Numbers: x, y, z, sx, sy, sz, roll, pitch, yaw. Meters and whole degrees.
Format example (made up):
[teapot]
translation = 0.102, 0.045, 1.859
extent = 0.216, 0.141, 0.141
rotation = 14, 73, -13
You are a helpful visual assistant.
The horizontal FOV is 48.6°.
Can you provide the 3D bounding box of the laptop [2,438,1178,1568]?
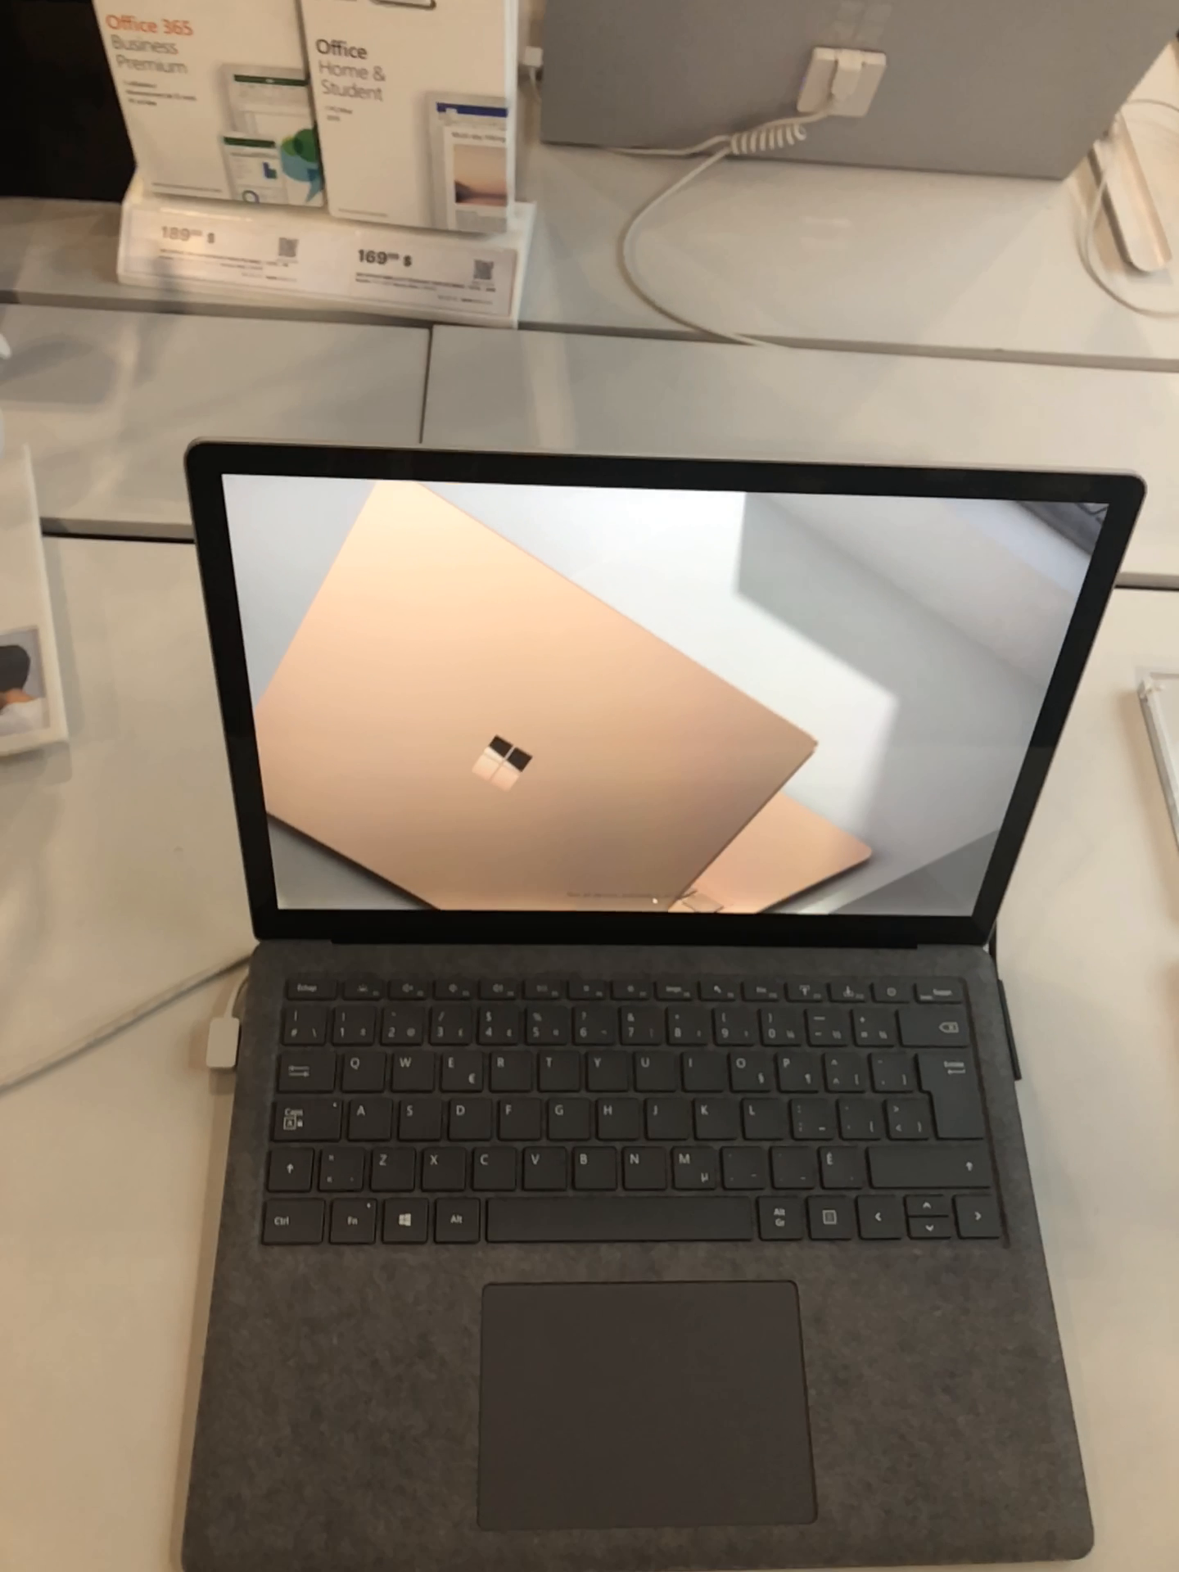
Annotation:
[laptop]
translation = 0.023, 0.076, 0.422
extent = 0.297, 0.197, 0.295
rotation = 1, 61, -4
